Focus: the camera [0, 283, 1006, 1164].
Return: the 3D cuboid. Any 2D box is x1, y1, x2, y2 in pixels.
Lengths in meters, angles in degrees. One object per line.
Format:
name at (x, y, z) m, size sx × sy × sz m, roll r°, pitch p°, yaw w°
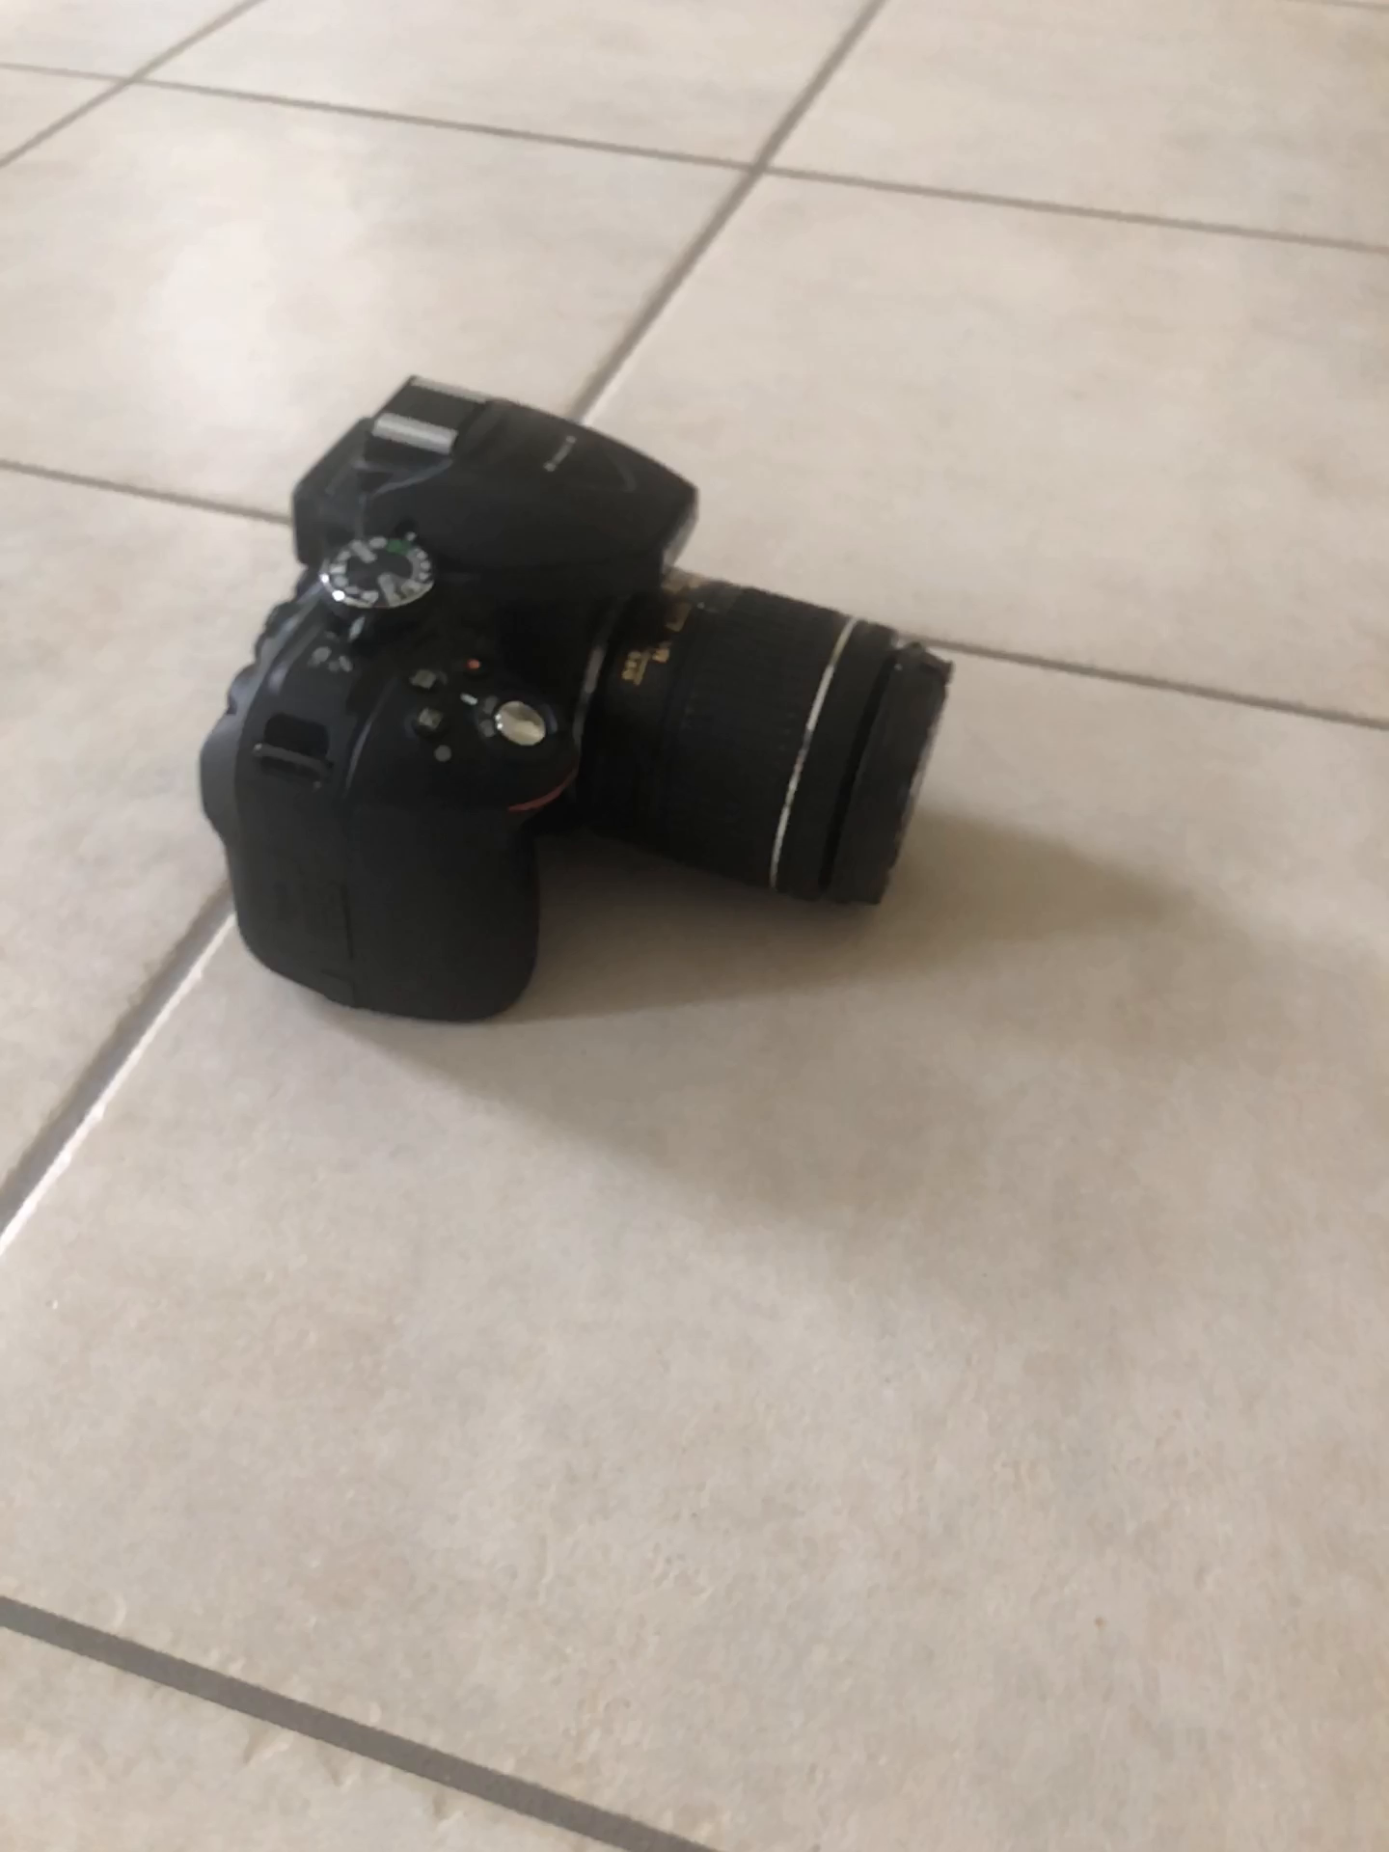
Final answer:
camera at (-0.032, -0.052, 0.339) m, size 0.160 × 0.089 × 0.141 m, roll 16°, pitch 49°, yaw 10°
